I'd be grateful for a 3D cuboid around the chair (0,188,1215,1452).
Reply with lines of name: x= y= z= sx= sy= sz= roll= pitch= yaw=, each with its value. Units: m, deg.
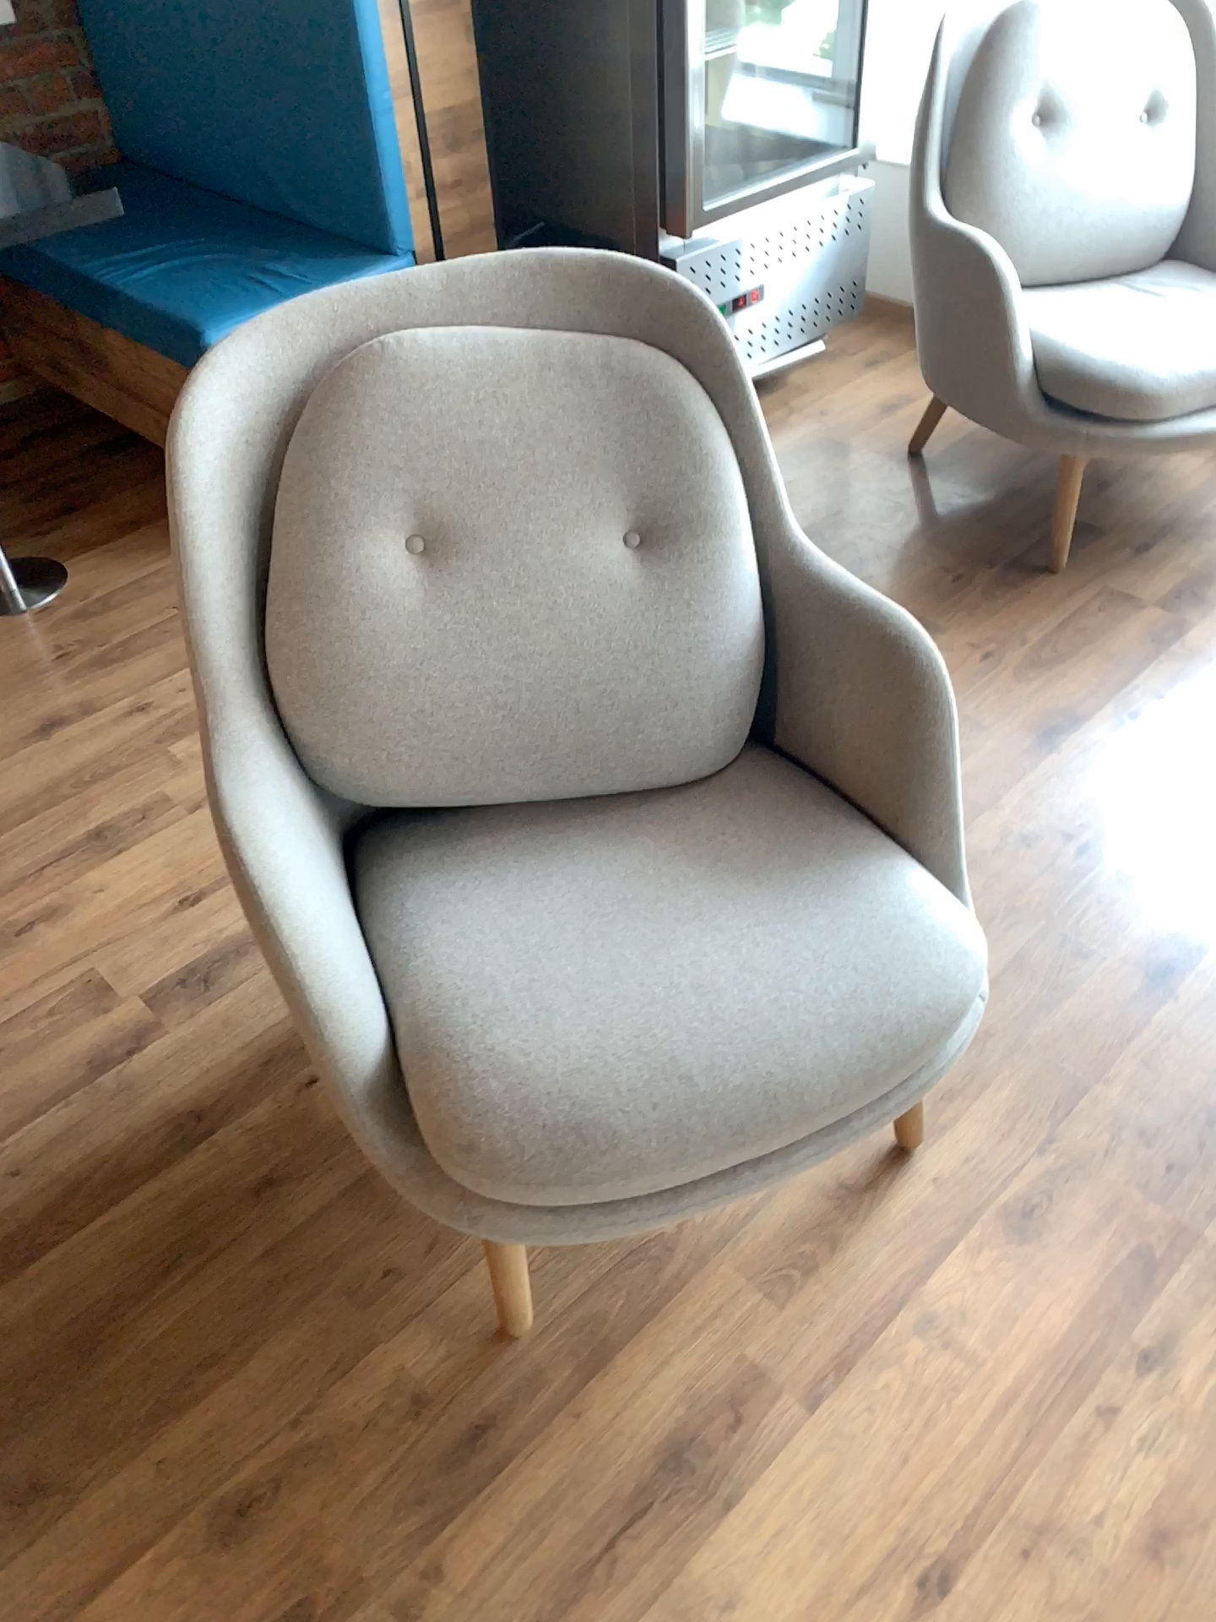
chair: x=-0.031 y=-0.042 z=1.287 sx=0.751 sy=0.833 sz=0.745 roll=-23 pitch=45 yaw=-20
